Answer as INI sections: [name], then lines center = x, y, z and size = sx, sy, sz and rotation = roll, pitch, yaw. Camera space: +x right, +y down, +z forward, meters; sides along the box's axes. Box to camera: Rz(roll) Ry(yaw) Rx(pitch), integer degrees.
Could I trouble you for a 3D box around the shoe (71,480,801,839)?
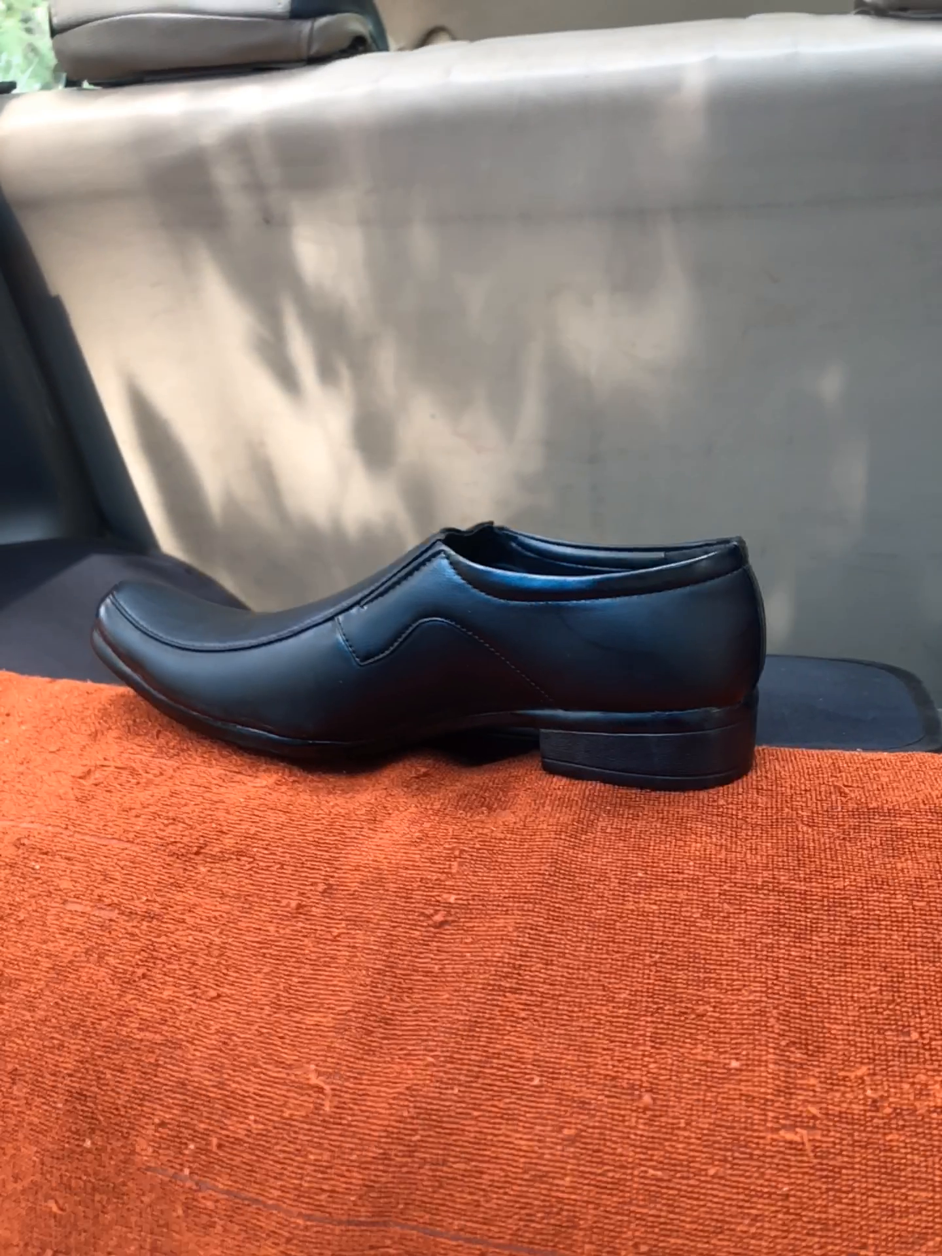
[shoe]
center = -0.013, -0.006, 0.485
size = 0.290, 0.100, 0.161
rotation = 6, 14, 25
